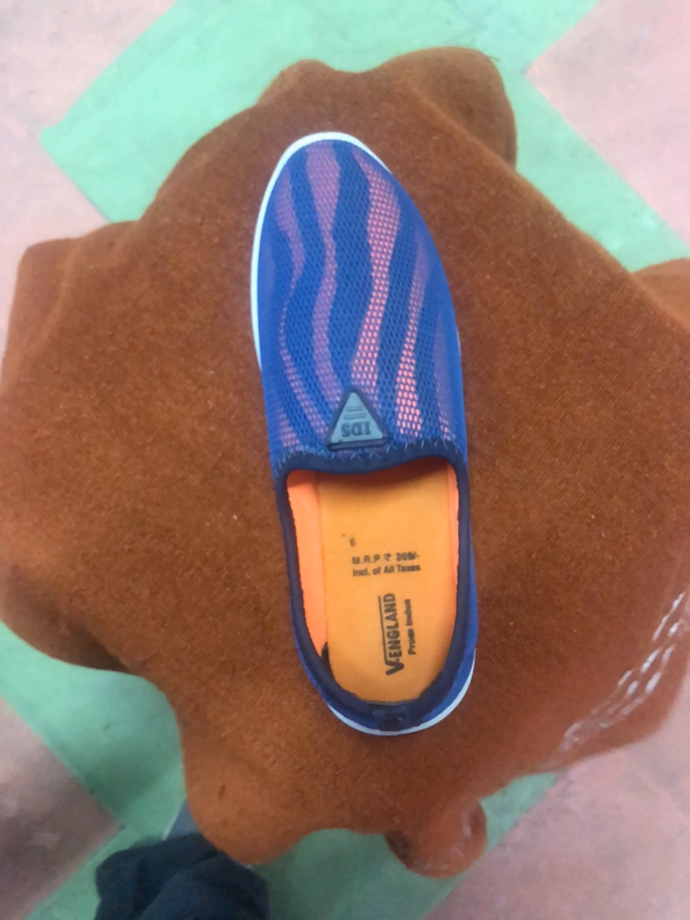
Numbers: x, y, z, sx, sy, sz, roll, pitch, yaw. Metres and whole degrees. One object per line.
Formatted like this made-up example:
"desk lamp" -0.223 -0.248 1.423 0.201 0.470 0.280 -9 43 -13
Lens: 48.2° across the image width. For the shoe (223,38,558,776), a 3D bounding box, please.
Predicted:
"shoe" 0.016 -0.020 0.315 0.090 0.070 0.260 -7 88 0
